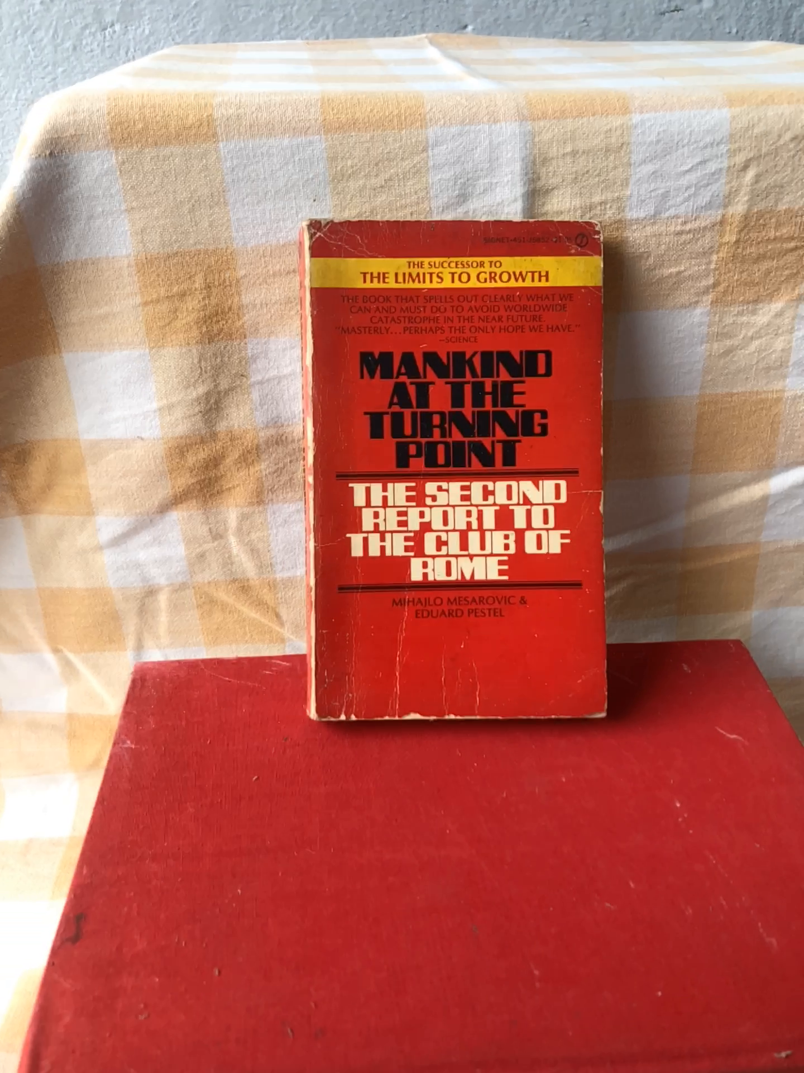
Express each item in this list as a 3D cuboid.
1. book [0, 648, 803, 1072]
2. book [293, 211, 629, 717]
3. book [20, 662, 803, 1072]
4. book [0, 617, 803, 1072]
[{"bbox_3d":[0.012,0.129,0.342,0.270,0.040,0.191,-4,33,0],"label":"book"},{"bbox_3d":[0.020,-0.025,0.322,0.110,0.170,0.040,-1,8,-2],"label":"book"},{"bbox_3d":[0.016,0.133,0.329,0.240,0.040,0.191,-4,33,0],"label":"book"},{"bbox_3d":[0.016,0.116,0.345,0.280,0.040,0.191,-4,33,0],"label":"book"}]
